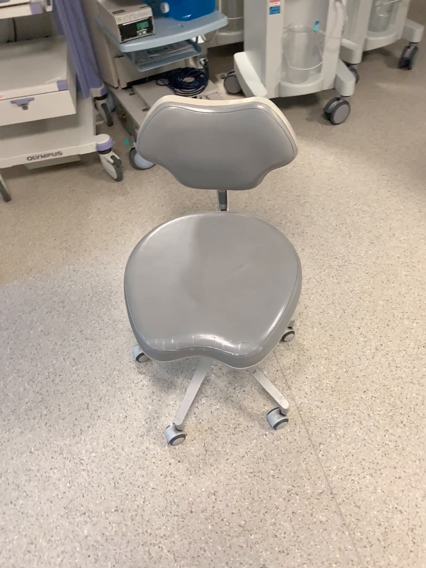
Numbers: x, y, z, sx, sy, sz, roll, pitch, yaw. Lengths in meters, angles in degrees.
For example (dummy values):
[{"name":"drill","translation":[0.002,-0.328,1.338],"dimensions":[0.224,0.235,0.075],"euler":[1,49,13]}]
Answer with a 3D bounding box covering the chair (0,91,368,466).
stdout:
[{"name":"chair","translation":[-0.019,0.035,1.177],"dimensions":[0.600,0.823,0.605],"euler":[1,50,6]}]
